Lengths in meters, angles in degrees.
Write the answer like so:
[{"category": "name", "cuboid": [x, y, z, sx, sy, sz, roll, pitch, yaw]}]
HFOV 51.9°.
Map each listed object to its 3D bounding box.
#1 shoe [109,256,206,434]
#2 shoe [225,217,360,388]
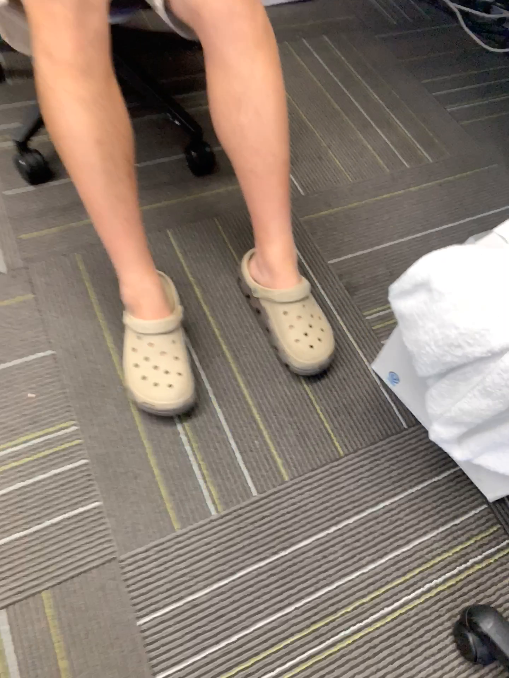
[{"category": "shoe", "cuboid": [-0.183, 0.001, 0.968, 0.134, 0.080, 0.322, -7, 60, -11]}, {"category": "shoe", "cuboid": [0.063, -0.081, 1.036, 0.140, 0.080, 0.331, -15, 62, -16]}]
